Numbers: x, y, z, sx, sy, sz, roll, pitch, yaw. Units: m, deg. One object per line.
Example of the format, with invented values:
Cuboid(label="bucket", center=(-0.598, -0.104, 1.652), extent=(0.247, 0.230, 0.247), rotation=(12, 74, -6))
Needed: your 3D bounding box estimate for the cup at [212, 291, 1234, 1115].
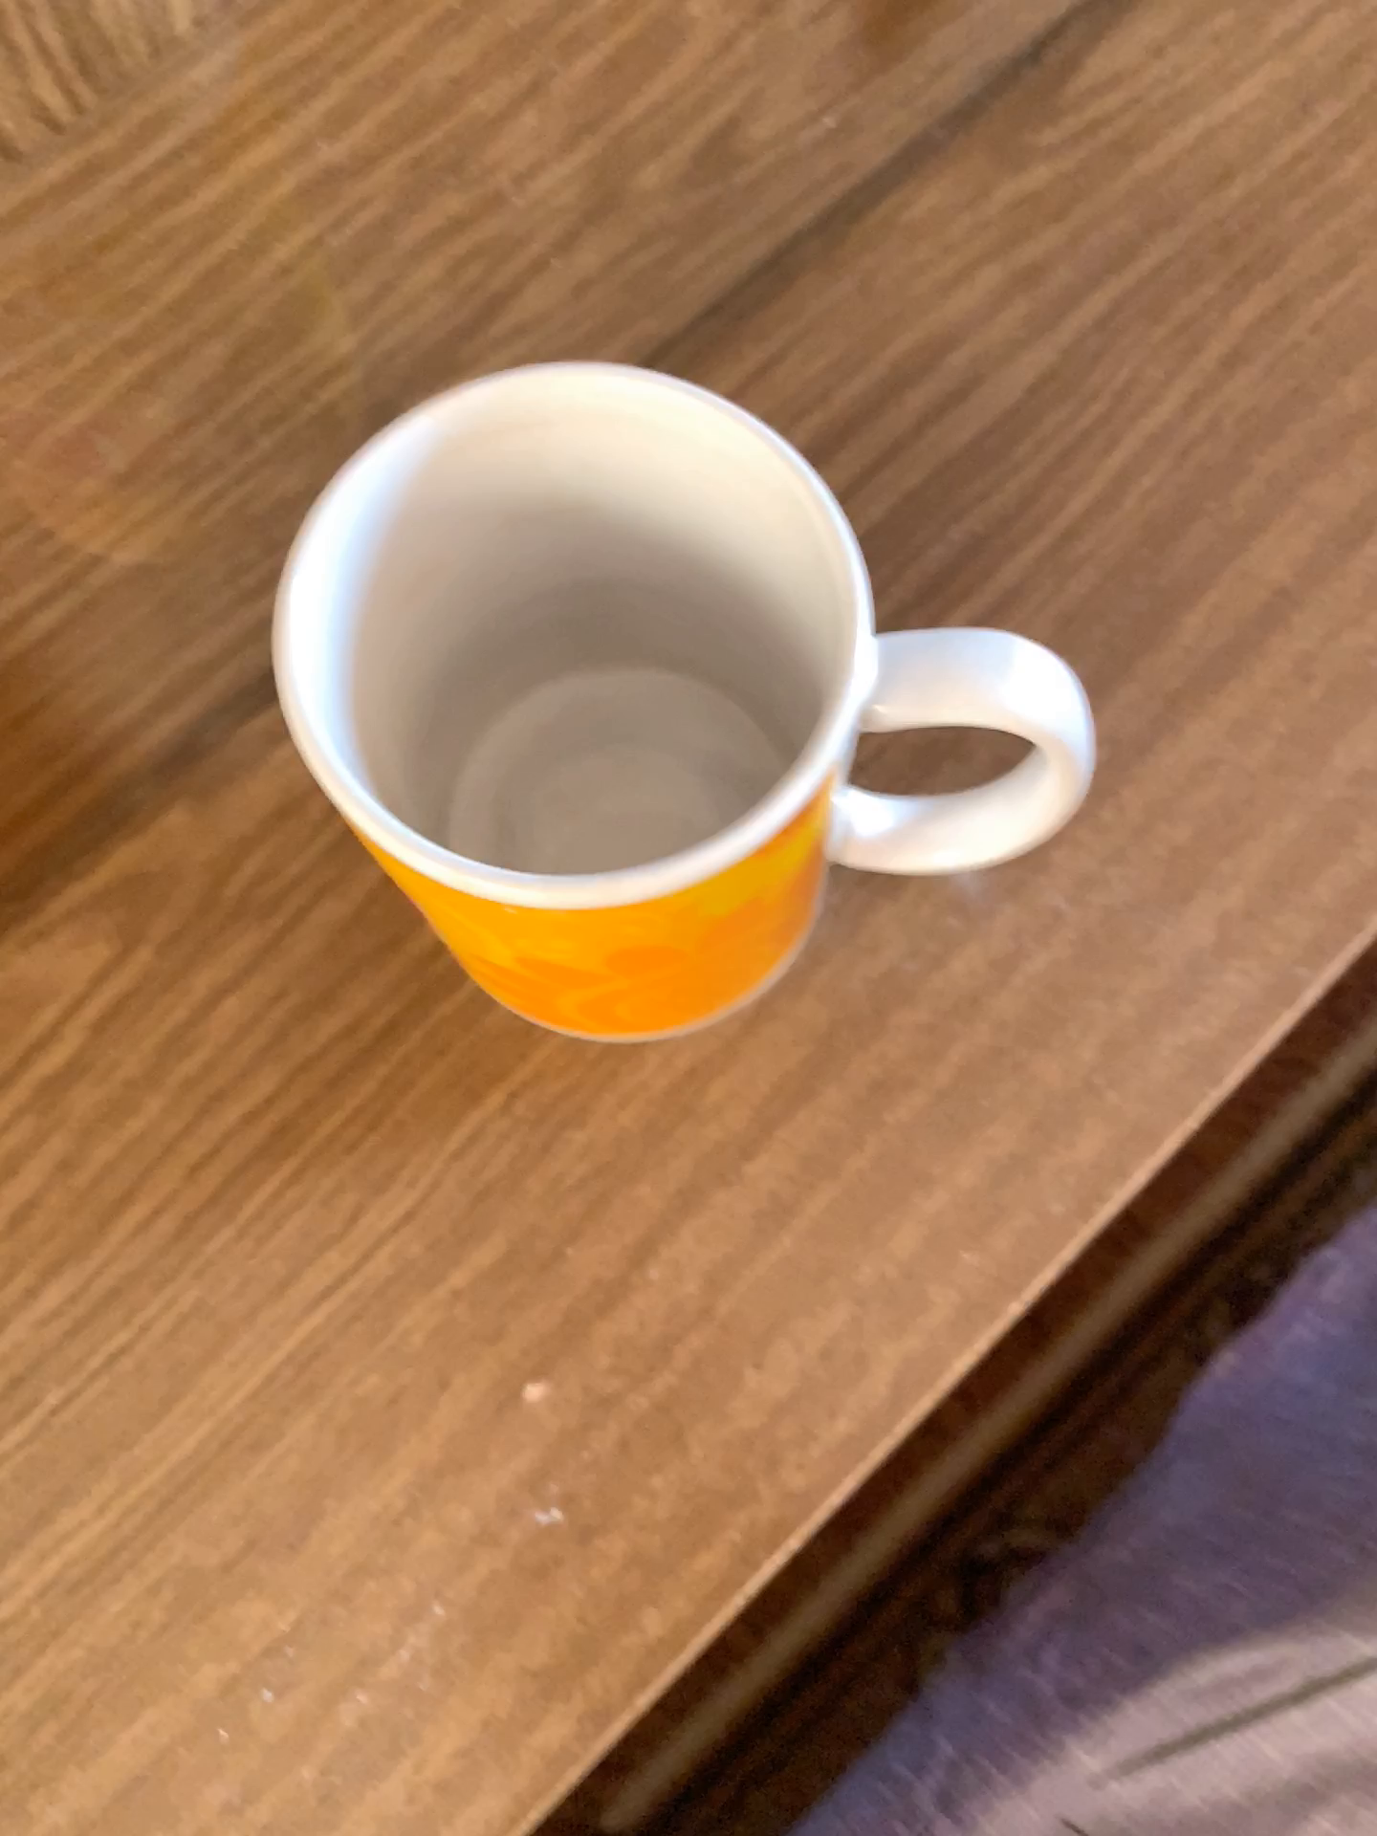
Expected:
Cuboid(label="cup", center=(0.009, -0.026, 0.233), extent=(0.123, 0.097, 0.091), rotation=(5, 74, 3))
